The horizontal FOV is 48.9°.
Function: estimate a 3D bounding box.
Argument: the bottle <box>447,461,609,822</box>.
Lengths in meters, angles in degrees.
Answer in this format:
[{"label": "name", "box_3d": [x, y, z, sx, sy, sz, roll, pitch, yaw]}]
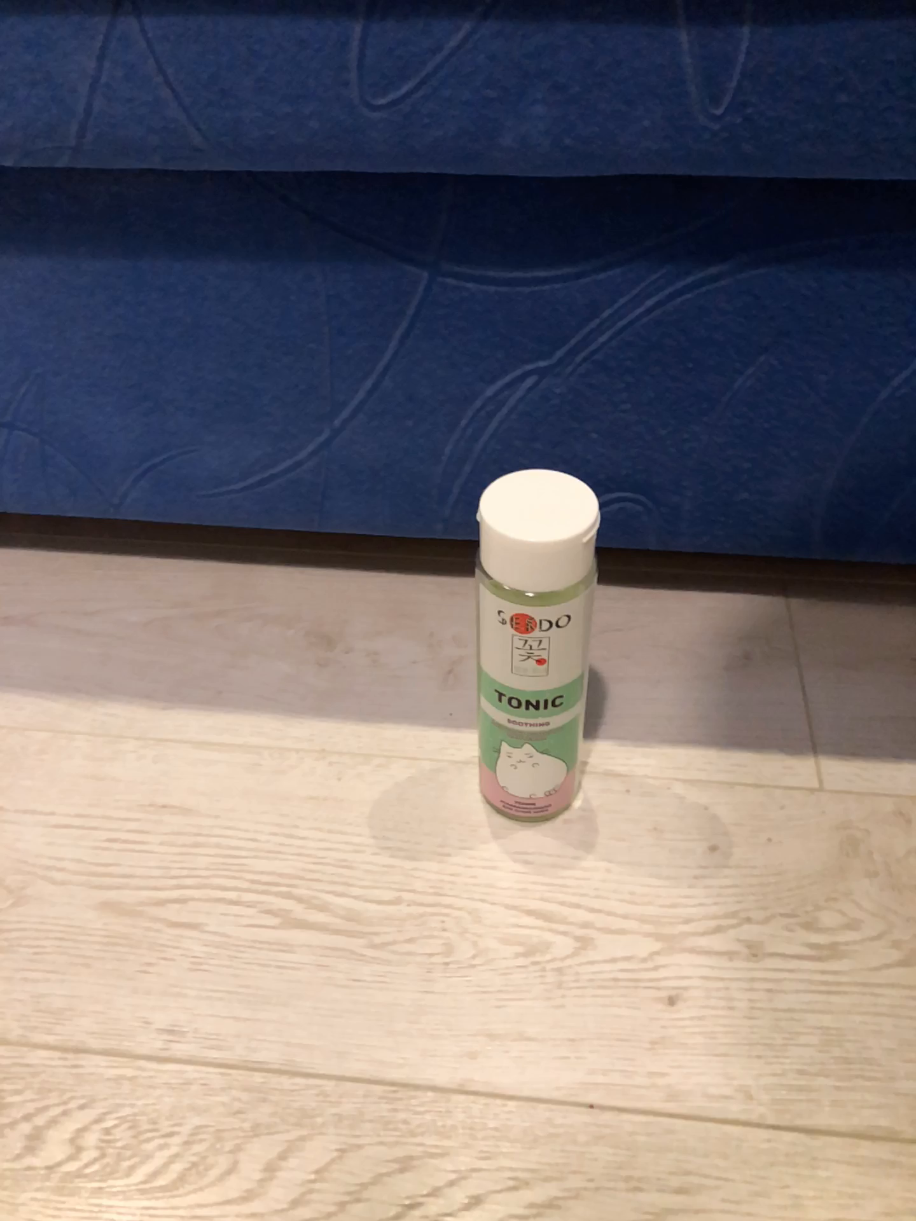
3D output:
[{"label": "bottle", "box_3d": [0.027, 0.019, 0.426, 0.057, 0.160, 0.053, -1, 42, 1]}]
